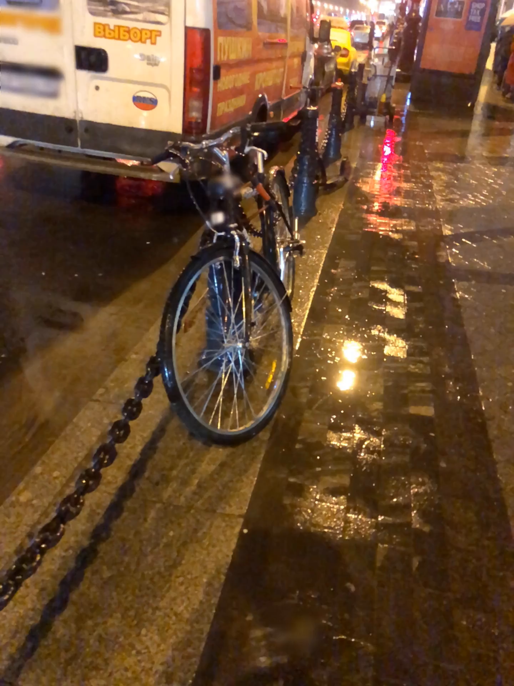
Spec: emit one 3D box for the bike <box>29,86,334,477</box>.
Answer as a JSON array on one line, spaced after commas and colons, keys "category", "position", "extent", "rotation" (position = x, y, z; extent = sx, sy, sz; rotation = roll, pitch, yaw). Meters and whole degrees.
[{"category": "bike", "position": [-0.124, -0.458, 2.346], "extent": [0.553, 0.961, 1.758], "rotation": [10, 30, 11]}]
